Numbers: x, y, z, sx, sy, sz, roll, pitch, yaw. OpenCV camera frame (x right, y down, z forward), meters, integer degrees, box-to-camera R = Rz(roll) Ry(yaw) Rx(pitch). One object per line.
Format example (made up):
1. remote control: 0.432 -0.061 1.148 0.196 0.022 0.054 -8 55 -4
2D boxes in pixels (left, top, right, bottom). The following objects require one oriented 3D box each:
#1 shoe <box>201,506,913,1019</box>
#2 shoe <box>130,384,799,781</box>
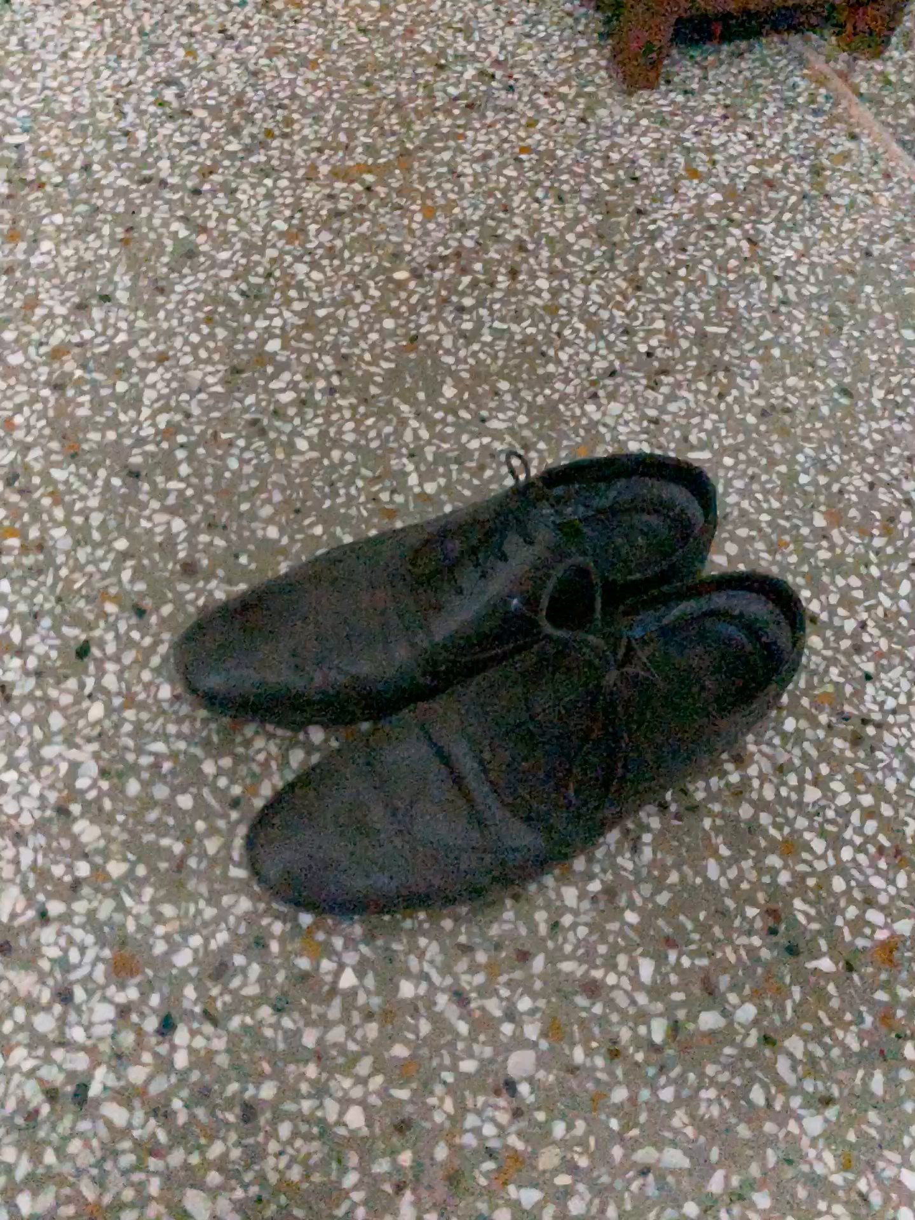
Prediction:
1. shoe: 0.051 0.068 0.463 0.320 0.100 0.100 -23 66 -18
2. shoe: 0.006 -0.019 0.506 0.320 0.100 0.100 -16 64 -15
